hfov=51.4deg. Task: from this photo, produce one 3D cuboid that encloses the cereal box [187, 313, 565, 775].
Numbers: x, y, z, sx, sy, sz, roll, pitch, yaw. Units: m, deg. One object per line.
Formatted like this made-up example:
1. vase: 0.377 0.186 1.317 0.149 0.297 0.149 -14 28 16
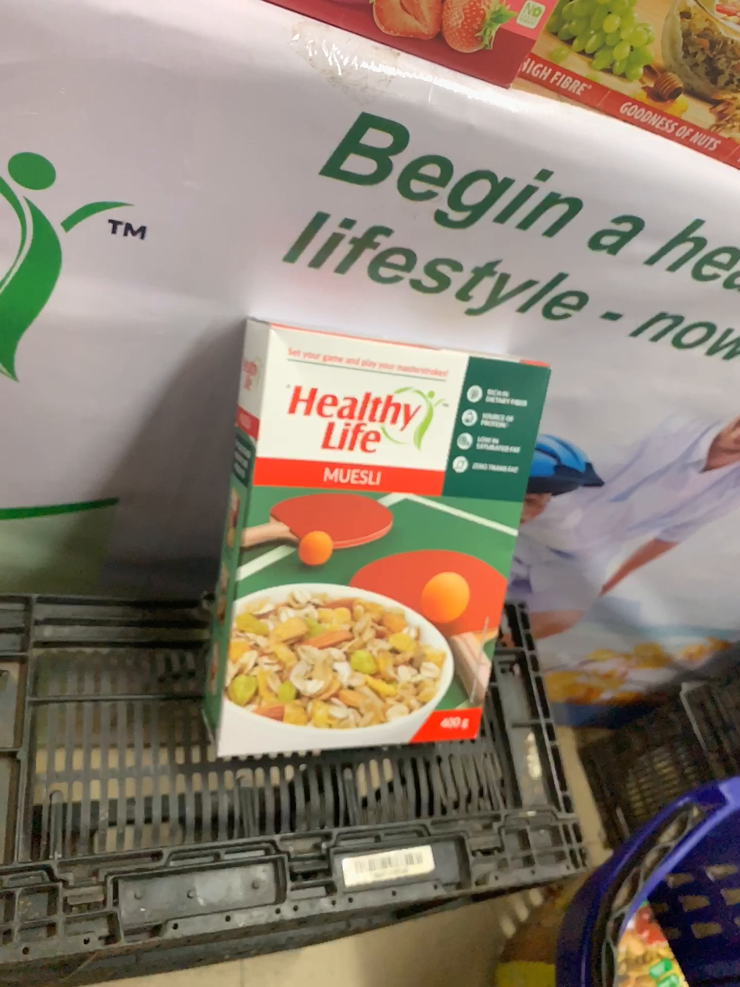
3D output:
1. cereal box: -0.003 0.026 0.438 0.170 0.230 0.080 3 11 -22
